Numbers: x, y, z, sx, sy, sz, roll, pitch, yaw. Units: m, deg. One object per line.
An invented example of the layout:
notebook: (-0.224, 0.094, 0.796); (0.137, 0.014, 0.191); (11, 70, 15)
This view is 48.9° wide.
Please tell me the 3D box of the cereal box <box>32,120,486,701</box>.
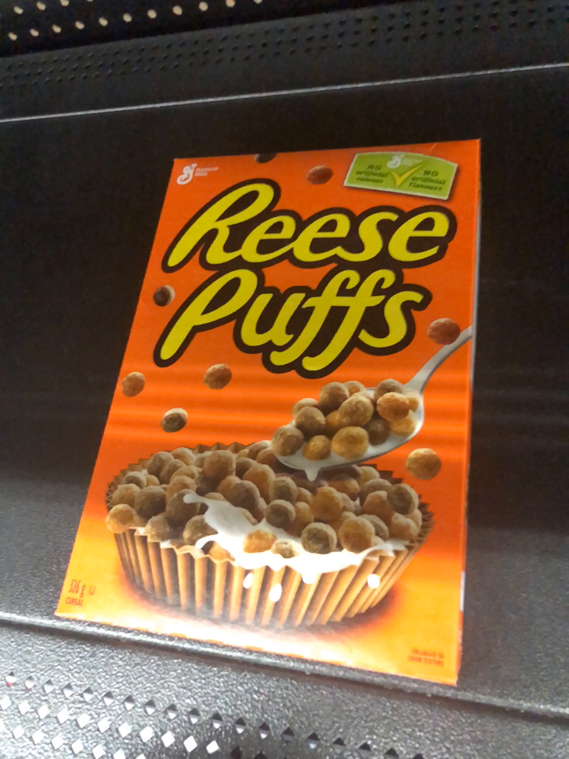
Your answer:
cereal box: (0.001, -0.004, 0.347); (0.200, 0.050, 0.291); (2, 68, 17)
